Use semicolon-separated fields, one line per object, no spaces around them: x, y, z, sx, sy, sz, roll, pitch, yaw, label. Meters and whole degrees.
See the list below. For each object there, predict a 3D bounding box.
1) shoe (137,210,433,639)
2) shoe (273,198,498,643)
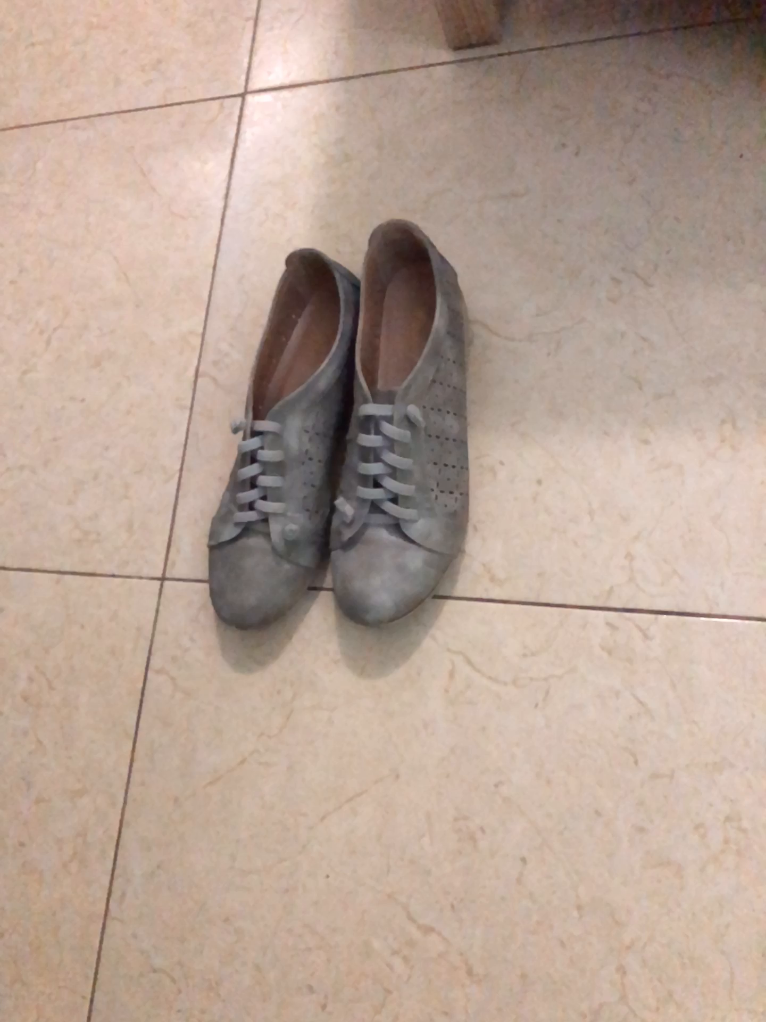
-0.065;-0.064;0.639;0.100;0.100;0.290;15;81;22;shoe
0.010;-0.061;0.606;0.100;0.100;0.290;3;76;20;shoe
